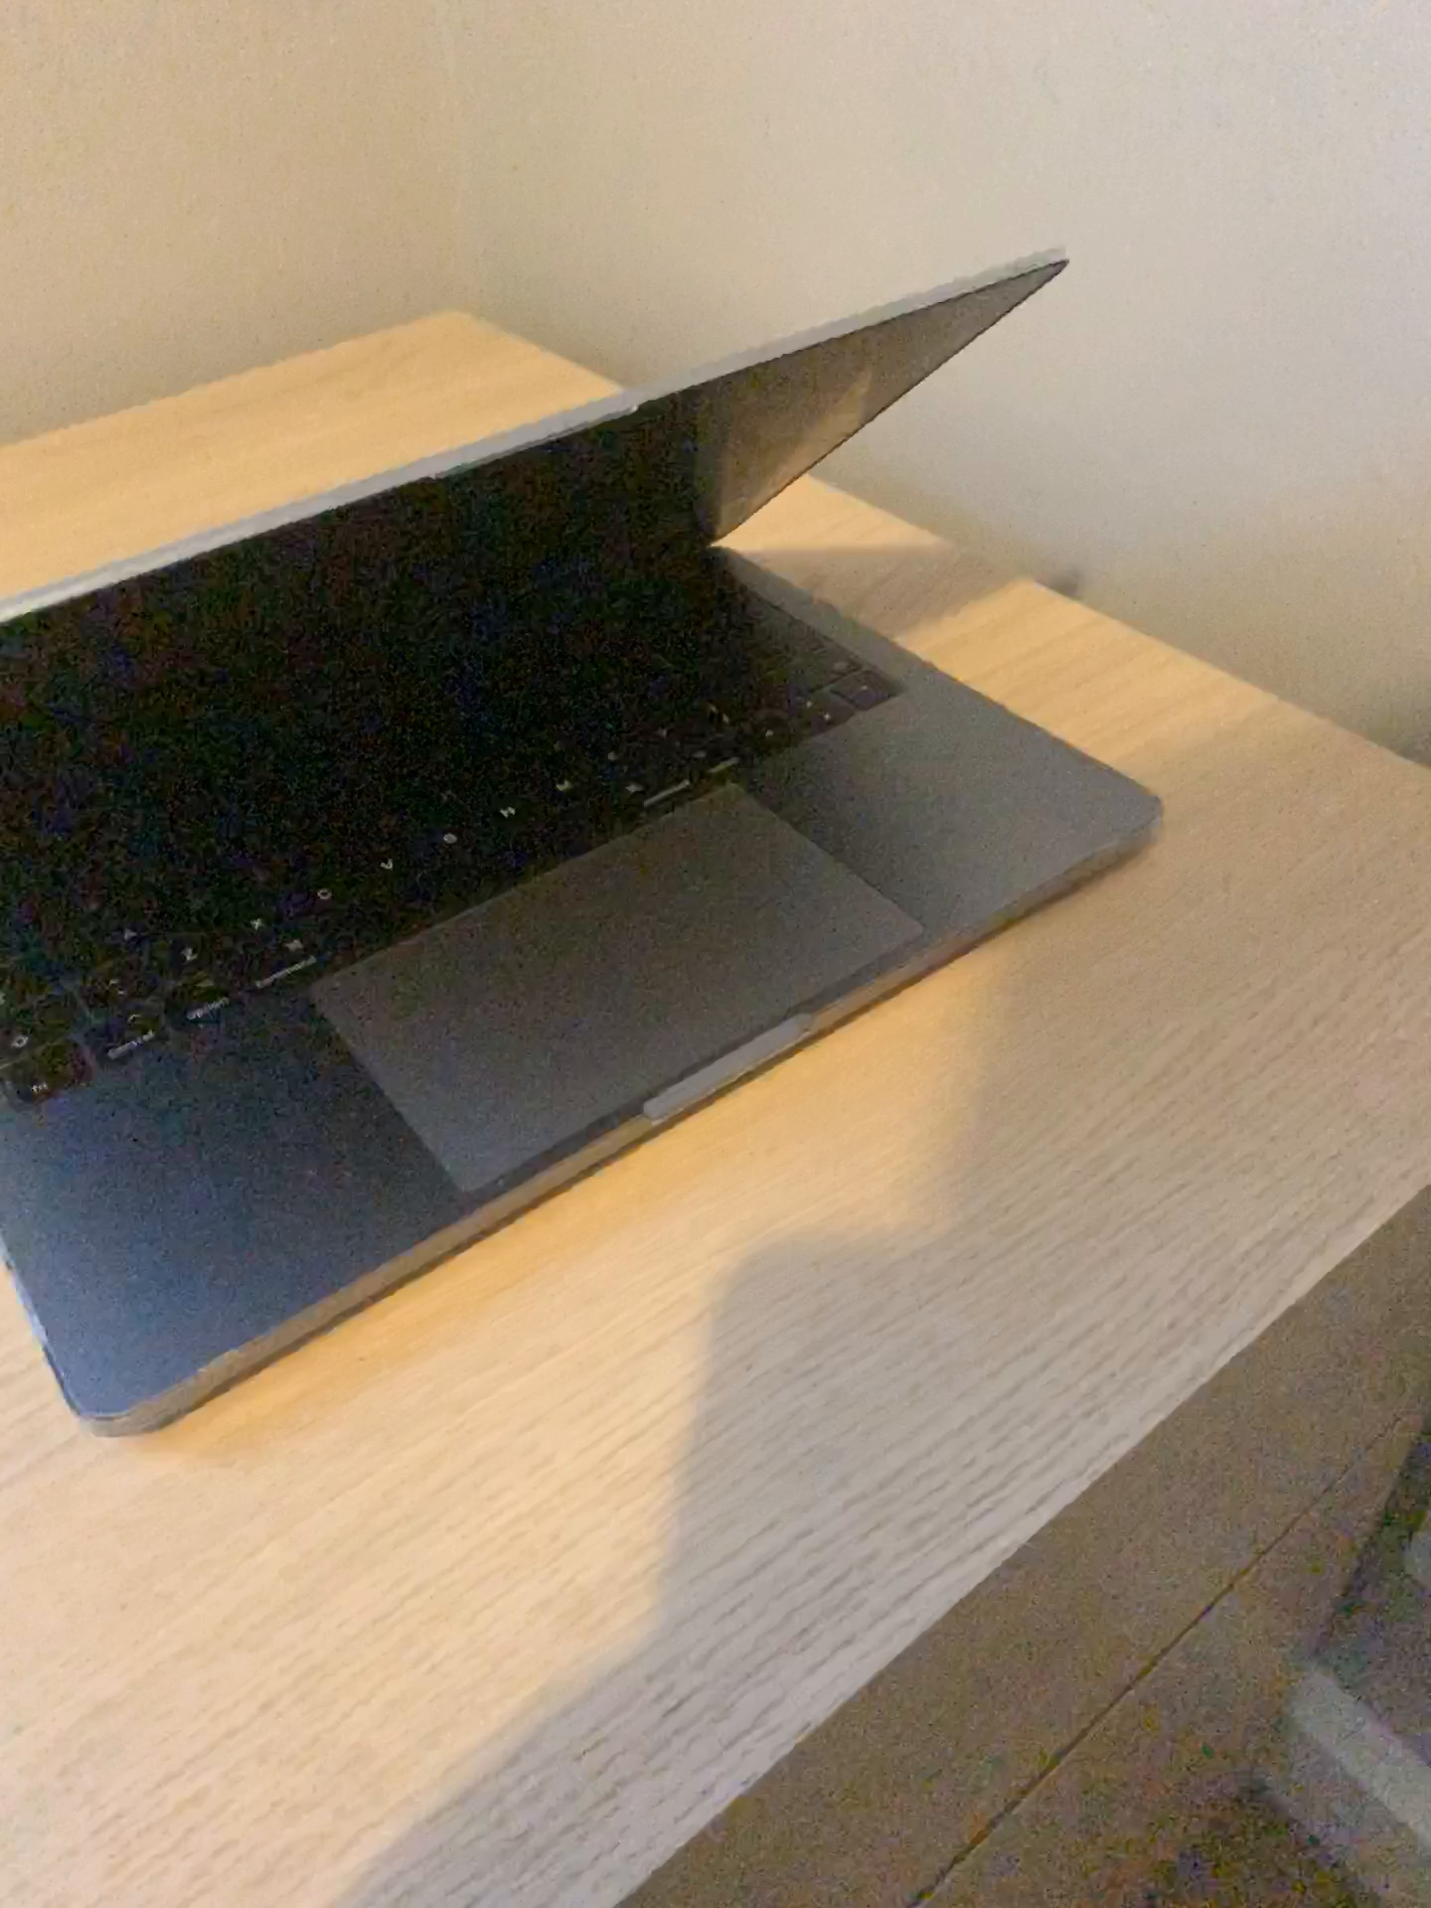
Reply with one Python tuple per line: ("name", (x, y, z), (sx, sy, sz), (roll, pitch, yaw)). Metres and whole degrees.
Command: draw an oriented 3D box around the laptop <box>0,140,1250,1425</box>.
("laptop", (-0.061, -0.077, 0.353), (0.290, 0.130, 0.205), (-28, 46, -24))
